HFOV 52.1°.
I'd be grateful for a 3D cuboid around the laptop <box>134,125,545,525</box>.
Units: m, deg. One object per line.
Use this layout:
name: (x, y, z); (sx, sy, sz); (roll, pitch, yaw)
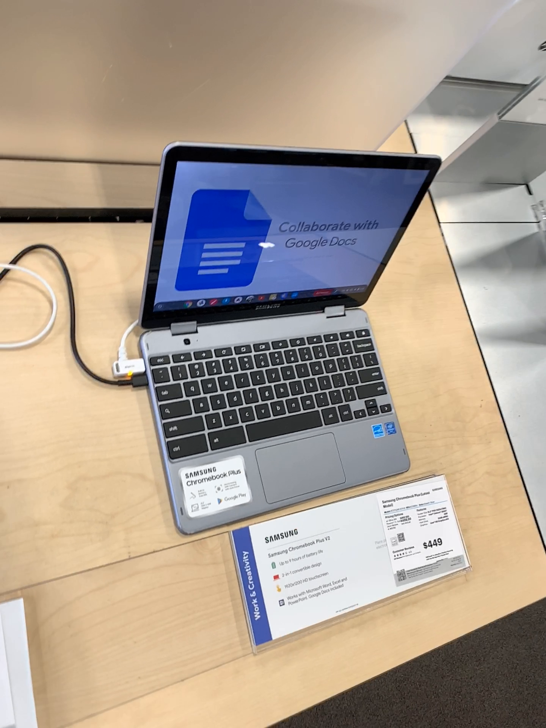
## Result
laptop: (0.048, -0.031, 0.531); (0.274, 0.181, 0.288); (-9, 79, -27)
